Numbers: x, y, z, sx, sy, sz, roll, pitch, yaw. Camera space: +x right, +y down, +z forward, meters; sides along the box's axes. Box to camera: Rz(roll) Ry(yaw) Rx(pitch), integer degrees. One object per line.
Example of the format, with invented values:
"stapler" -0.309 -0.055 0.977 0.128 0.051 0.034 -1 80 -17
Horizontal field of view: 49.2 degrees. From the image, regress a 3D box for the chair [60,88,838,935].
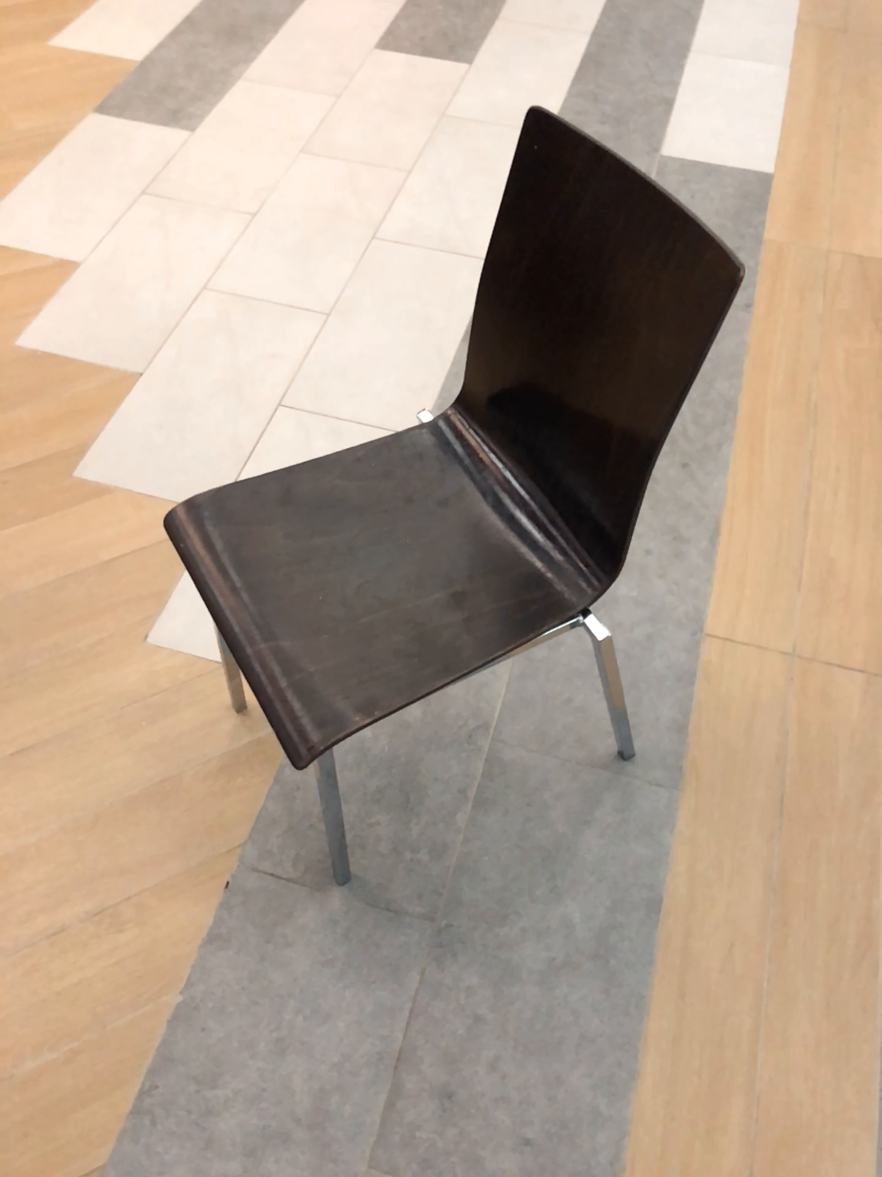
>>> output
"chair" -0.013 -0.032 1.191 0.542 0.848 0.435 -24 58 -18
